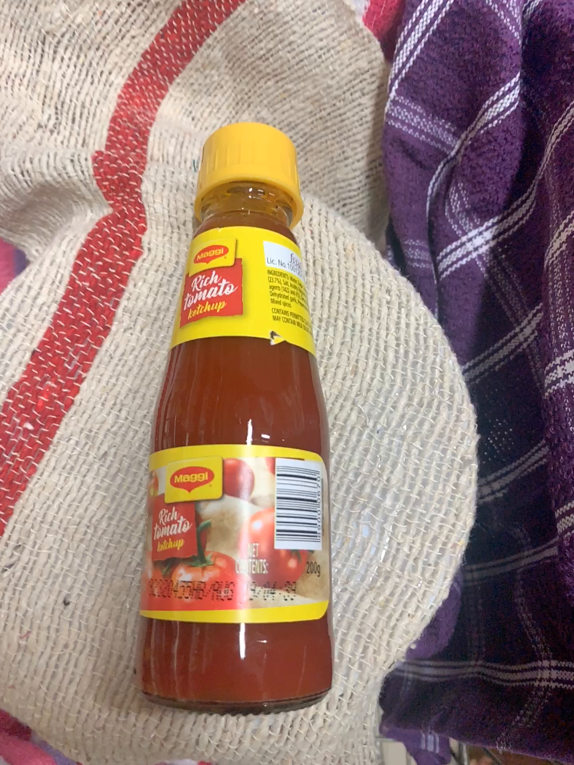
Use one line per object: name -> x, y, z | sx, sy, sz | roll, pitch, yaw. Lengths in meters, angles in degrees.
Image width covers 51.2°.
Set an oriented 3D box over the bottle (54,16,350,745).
bottle -> -0.018, -0.005, 0.166 | 0.050, 0.050, 0.170 | -9, 72, 27
